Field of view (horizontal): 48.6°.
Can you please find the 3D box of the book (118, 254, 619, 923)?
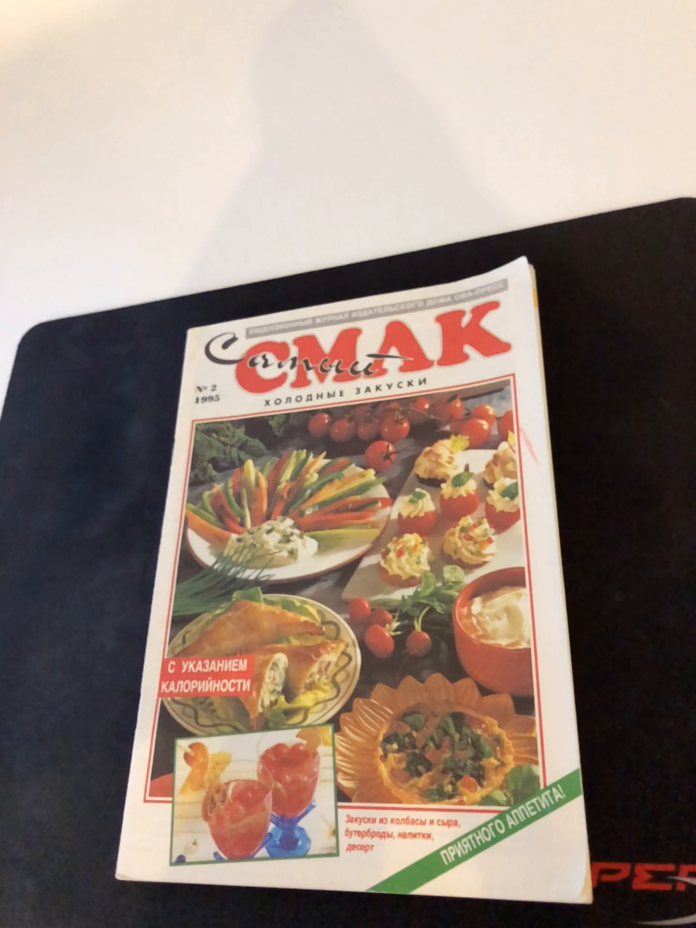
[{"bbox_3d":[0.002,0.033,0.288,0.160,0.010,0.231,-7,64,17],"label":"book"}]
